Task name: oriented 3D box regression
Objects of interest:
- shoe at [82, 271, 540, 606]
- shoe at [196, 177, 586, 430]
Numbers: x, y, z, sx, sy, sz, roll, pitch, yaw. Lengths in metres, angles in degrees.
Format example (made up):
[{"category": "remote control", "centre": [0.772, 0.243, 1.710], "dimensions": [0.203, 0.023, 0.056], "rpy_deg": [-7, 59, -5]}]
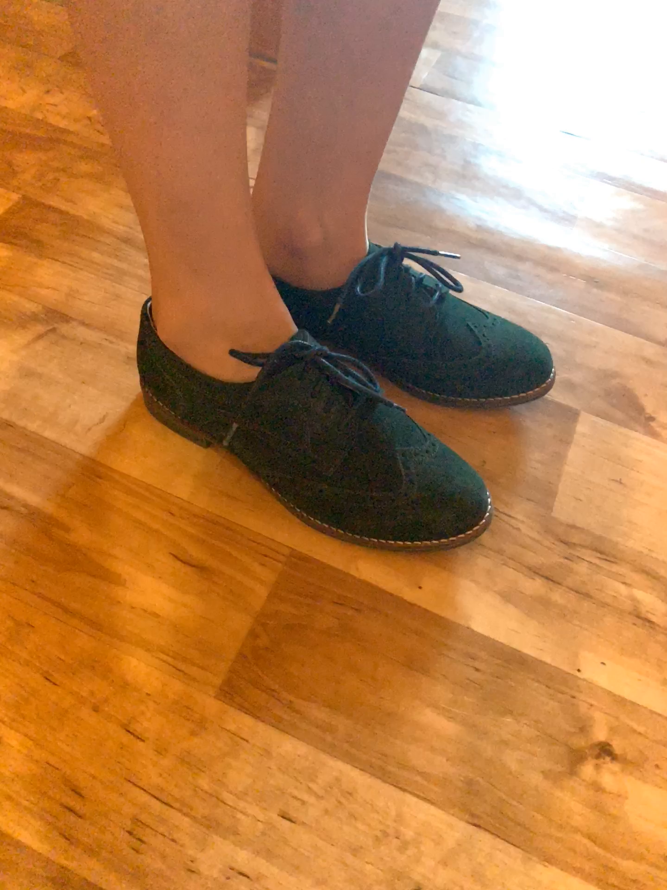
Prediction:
[{"category": "shoe", "centre": [-0.016, -0.008, 0.439], "dimensions": [0.260, 0.080, 0.090], "rpy_deg": [24, 57, 10]}, {"category": "shoe", "centre": [0.041, -0.102, 0.491], "dimensions": [0.250, 0.080, 0.100], "rpy_deg": [13, 55, 3]}]
